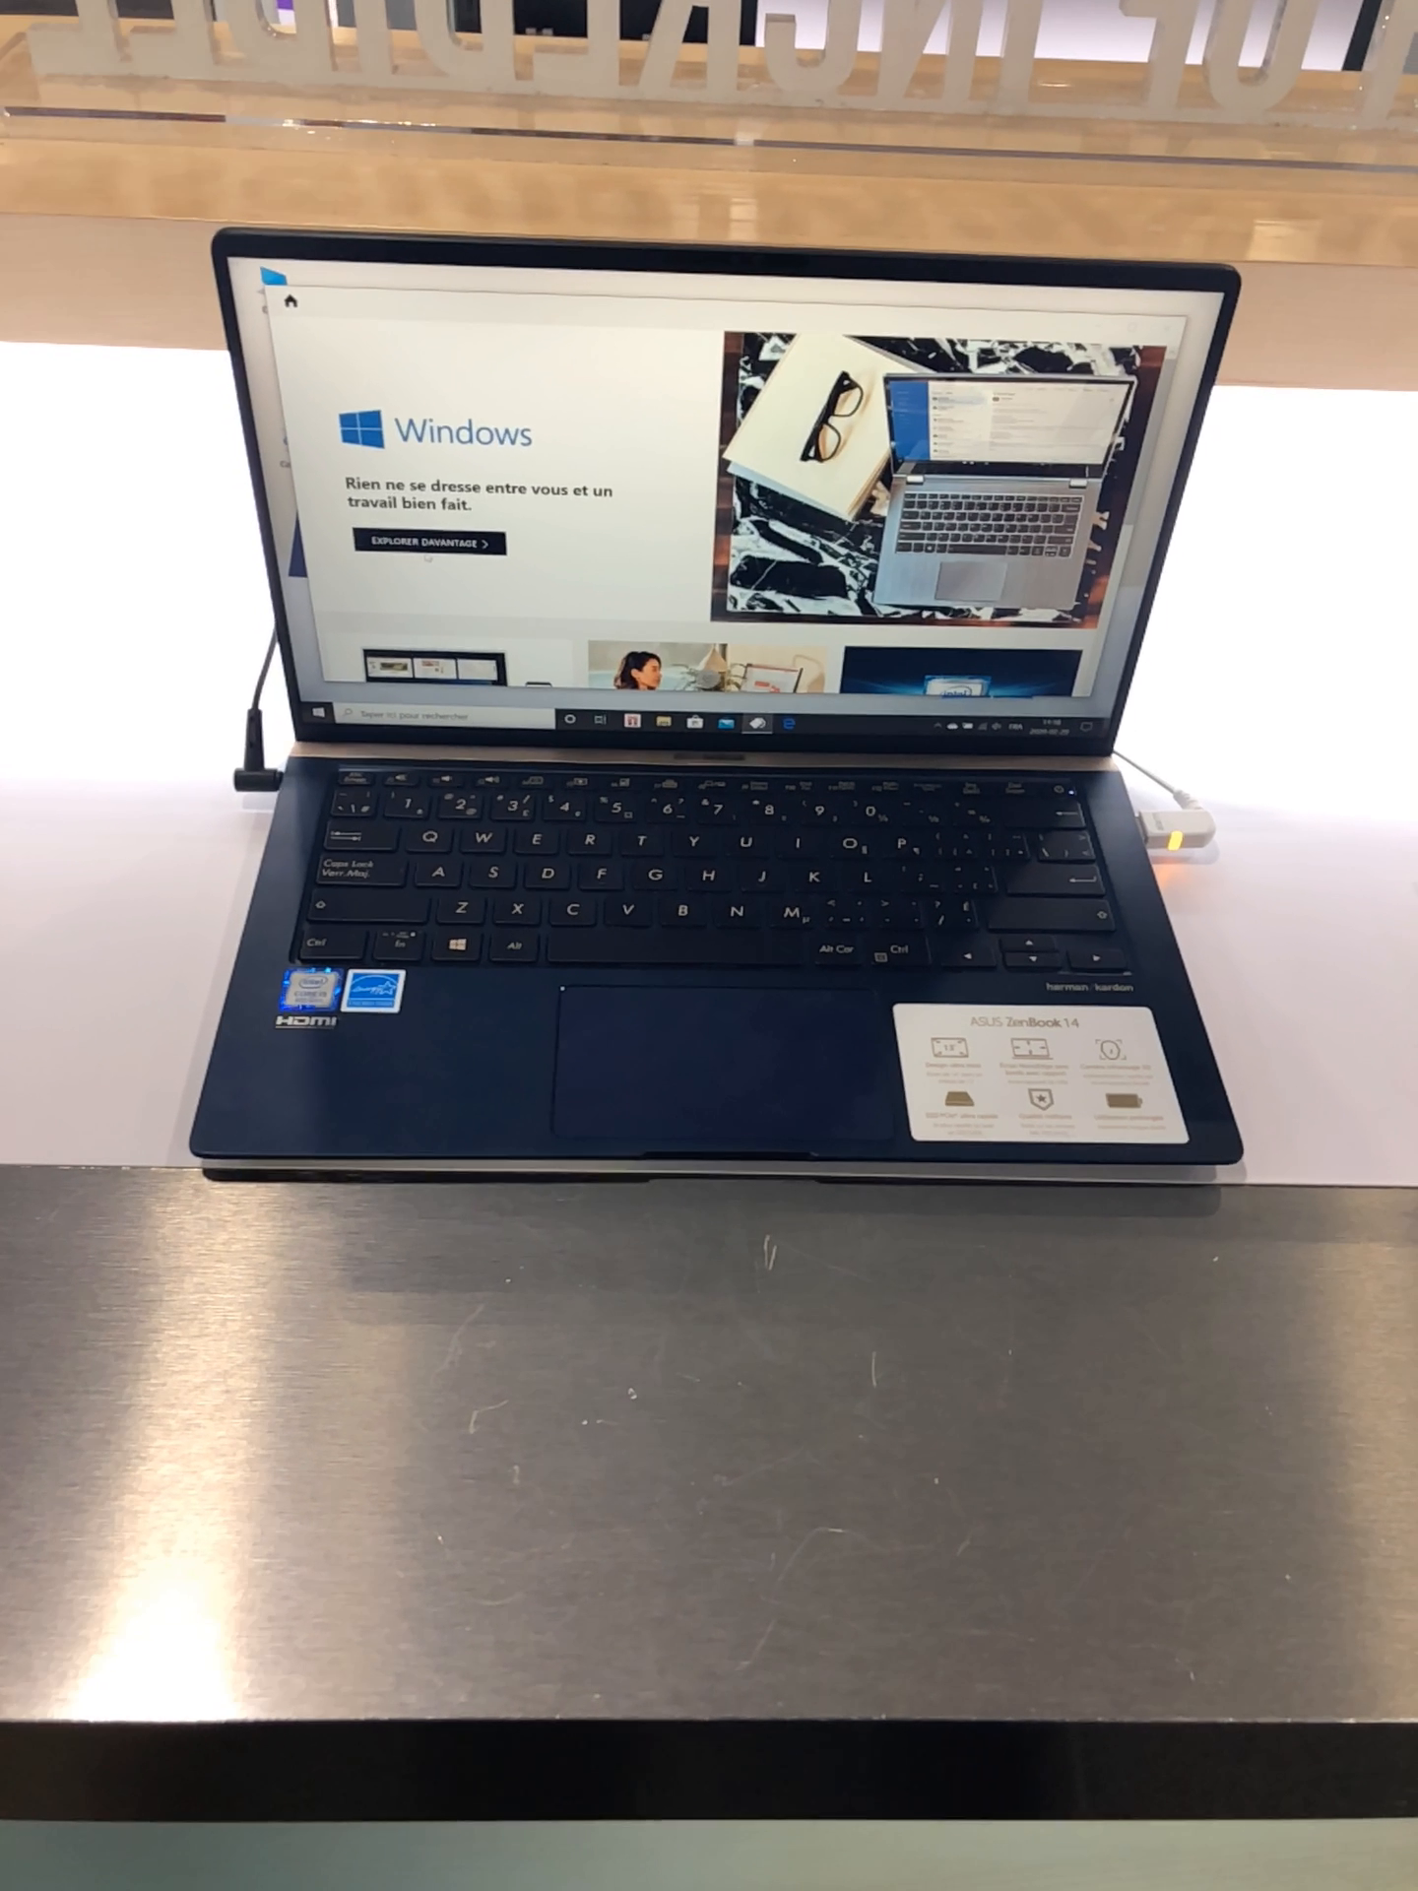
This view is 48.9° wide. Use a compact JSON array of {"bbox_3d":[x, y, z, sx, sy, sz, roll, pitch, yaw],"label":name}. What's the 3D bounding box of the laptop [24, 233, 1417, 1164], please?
[{"bbox_3d":[0.007,-0.070,0.451,0.301,0.182,0.192,1,44,-4],"label":"laptop"}]
